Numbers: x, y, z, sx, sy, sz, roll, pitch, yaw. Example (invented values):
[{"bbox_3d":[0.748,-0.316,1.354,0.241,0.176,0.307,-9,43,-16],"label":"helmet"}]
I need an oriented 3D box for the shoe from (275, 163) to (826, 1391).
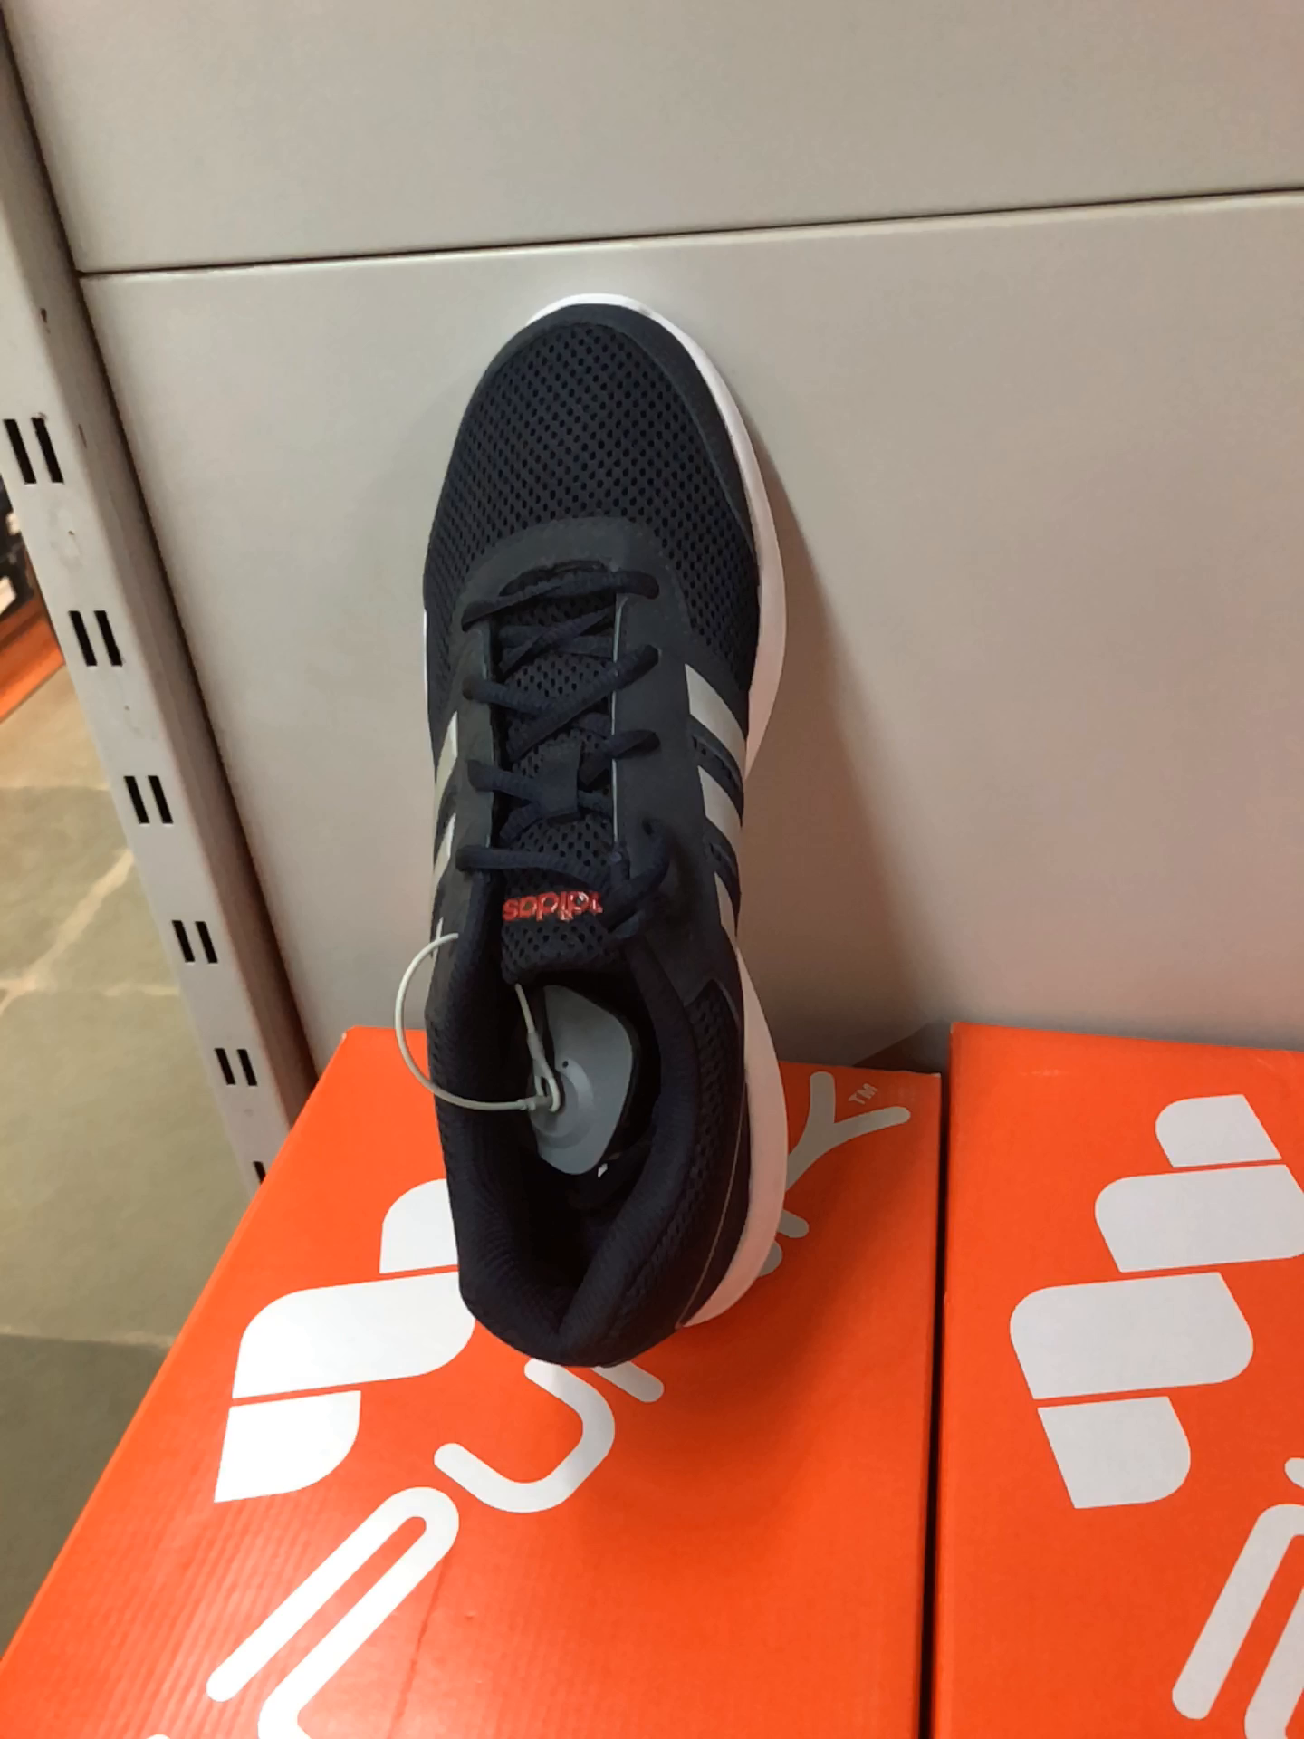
[{"bbox_3d":[-0.024,-0.019,0.372,0.110,0.272,0.088,-4,-6,16],"label":"shoe"}]
